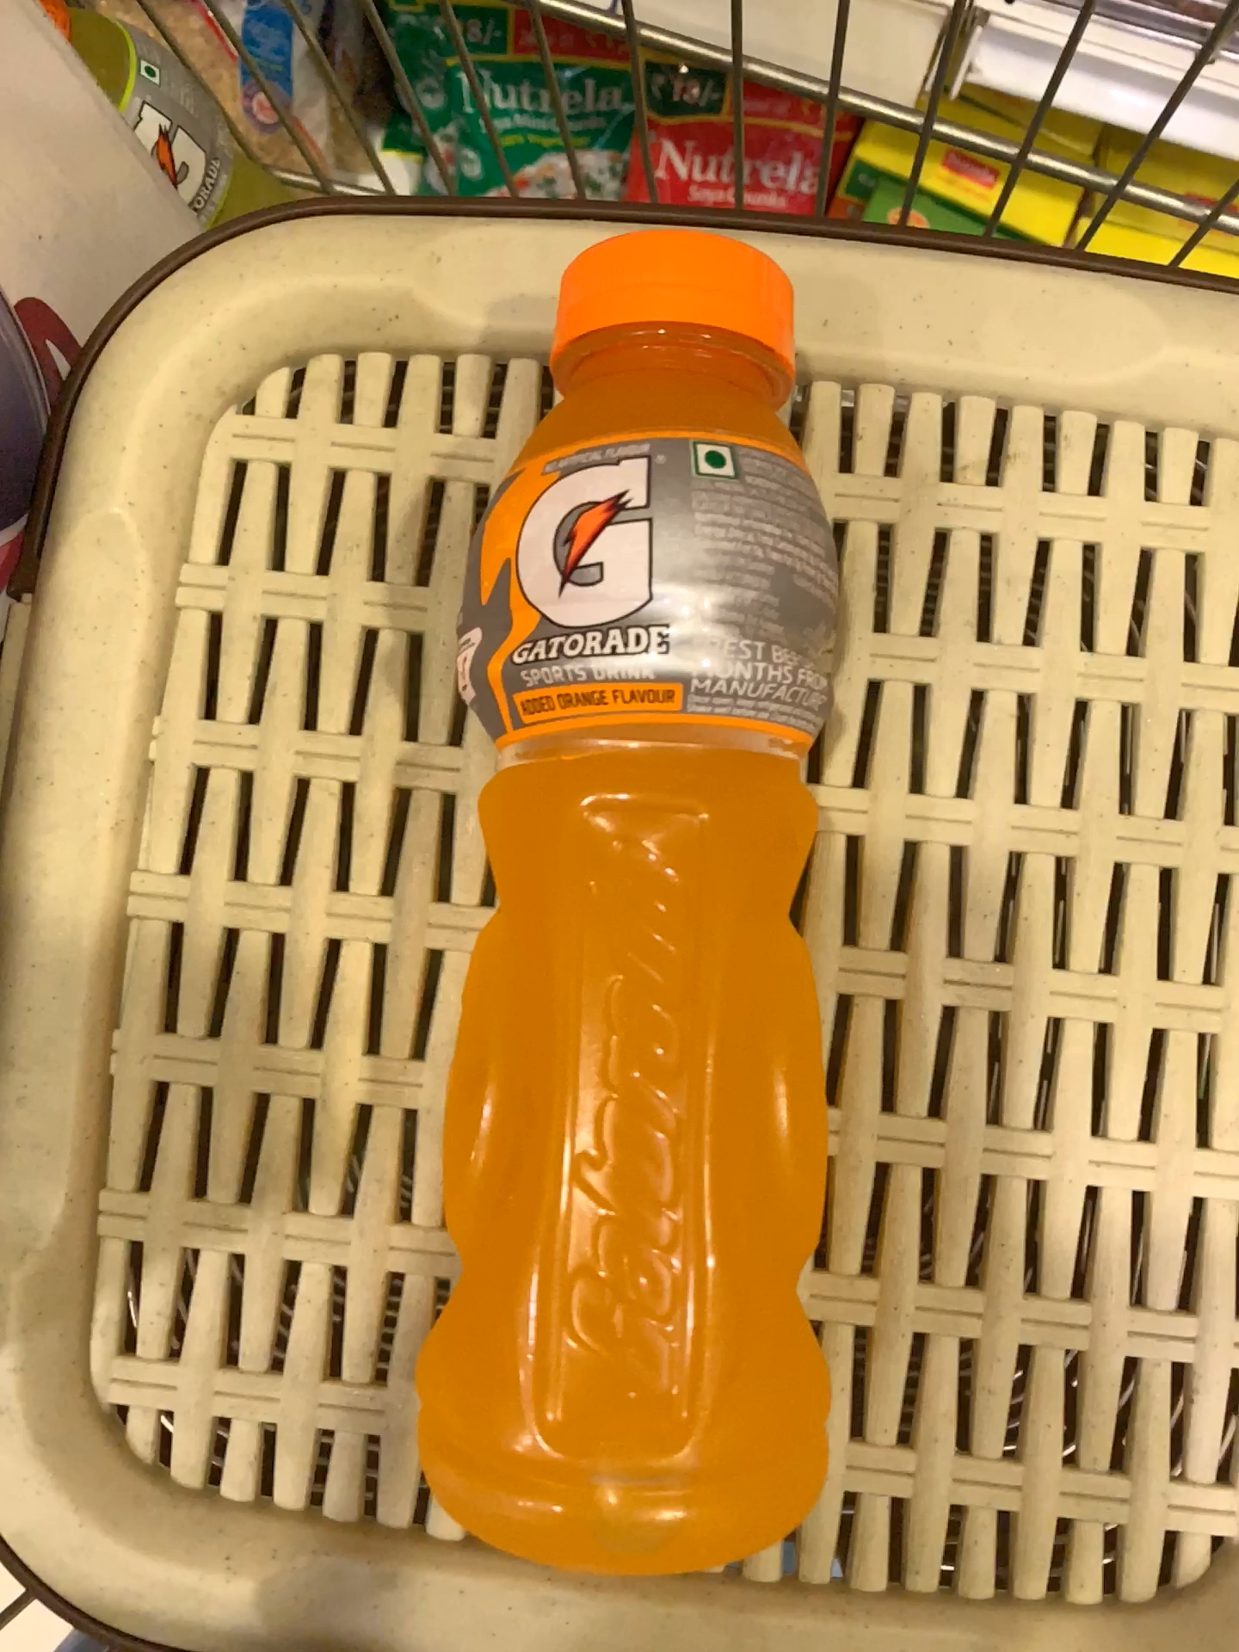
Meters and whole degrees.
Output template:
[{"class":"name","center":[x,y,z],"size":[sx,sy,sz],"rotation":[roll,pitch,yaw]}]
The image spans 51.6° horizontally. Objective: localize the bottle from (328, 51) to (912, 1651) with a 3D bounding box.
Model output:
[{"class":"bottle","center":[0.005,0.001,0.207],"size":[0.060,0.060,0.210],"rotation":[1,84,30]}]
